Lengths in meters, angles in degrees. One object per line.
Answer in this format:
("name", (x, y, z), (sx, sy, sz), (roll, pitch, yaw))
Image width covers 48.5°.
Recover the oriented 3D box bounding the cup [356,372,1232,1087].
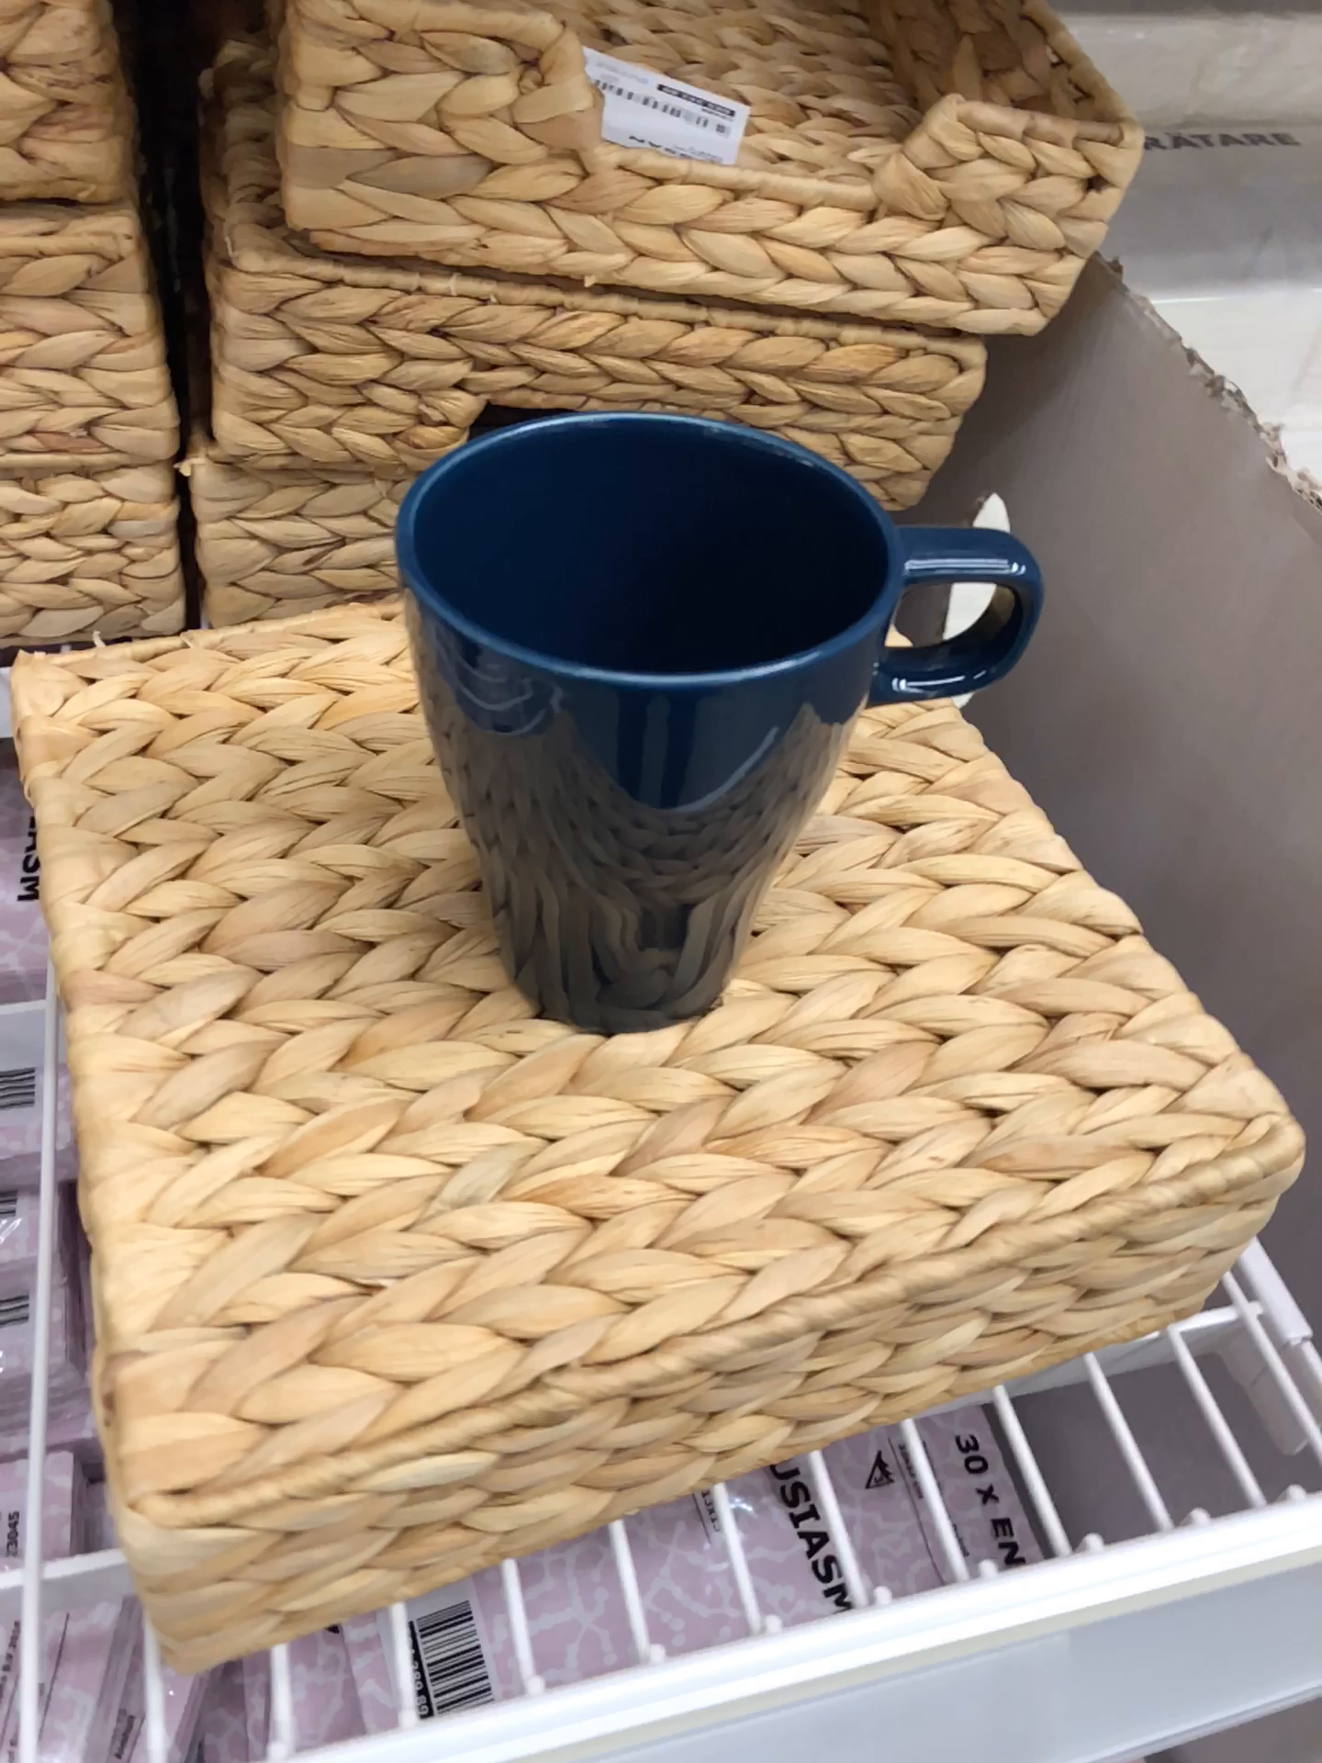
("cup", (0.012, -0.027, 0.256), (0.120, 0.090, 0.080), (-2, 45, -8))
